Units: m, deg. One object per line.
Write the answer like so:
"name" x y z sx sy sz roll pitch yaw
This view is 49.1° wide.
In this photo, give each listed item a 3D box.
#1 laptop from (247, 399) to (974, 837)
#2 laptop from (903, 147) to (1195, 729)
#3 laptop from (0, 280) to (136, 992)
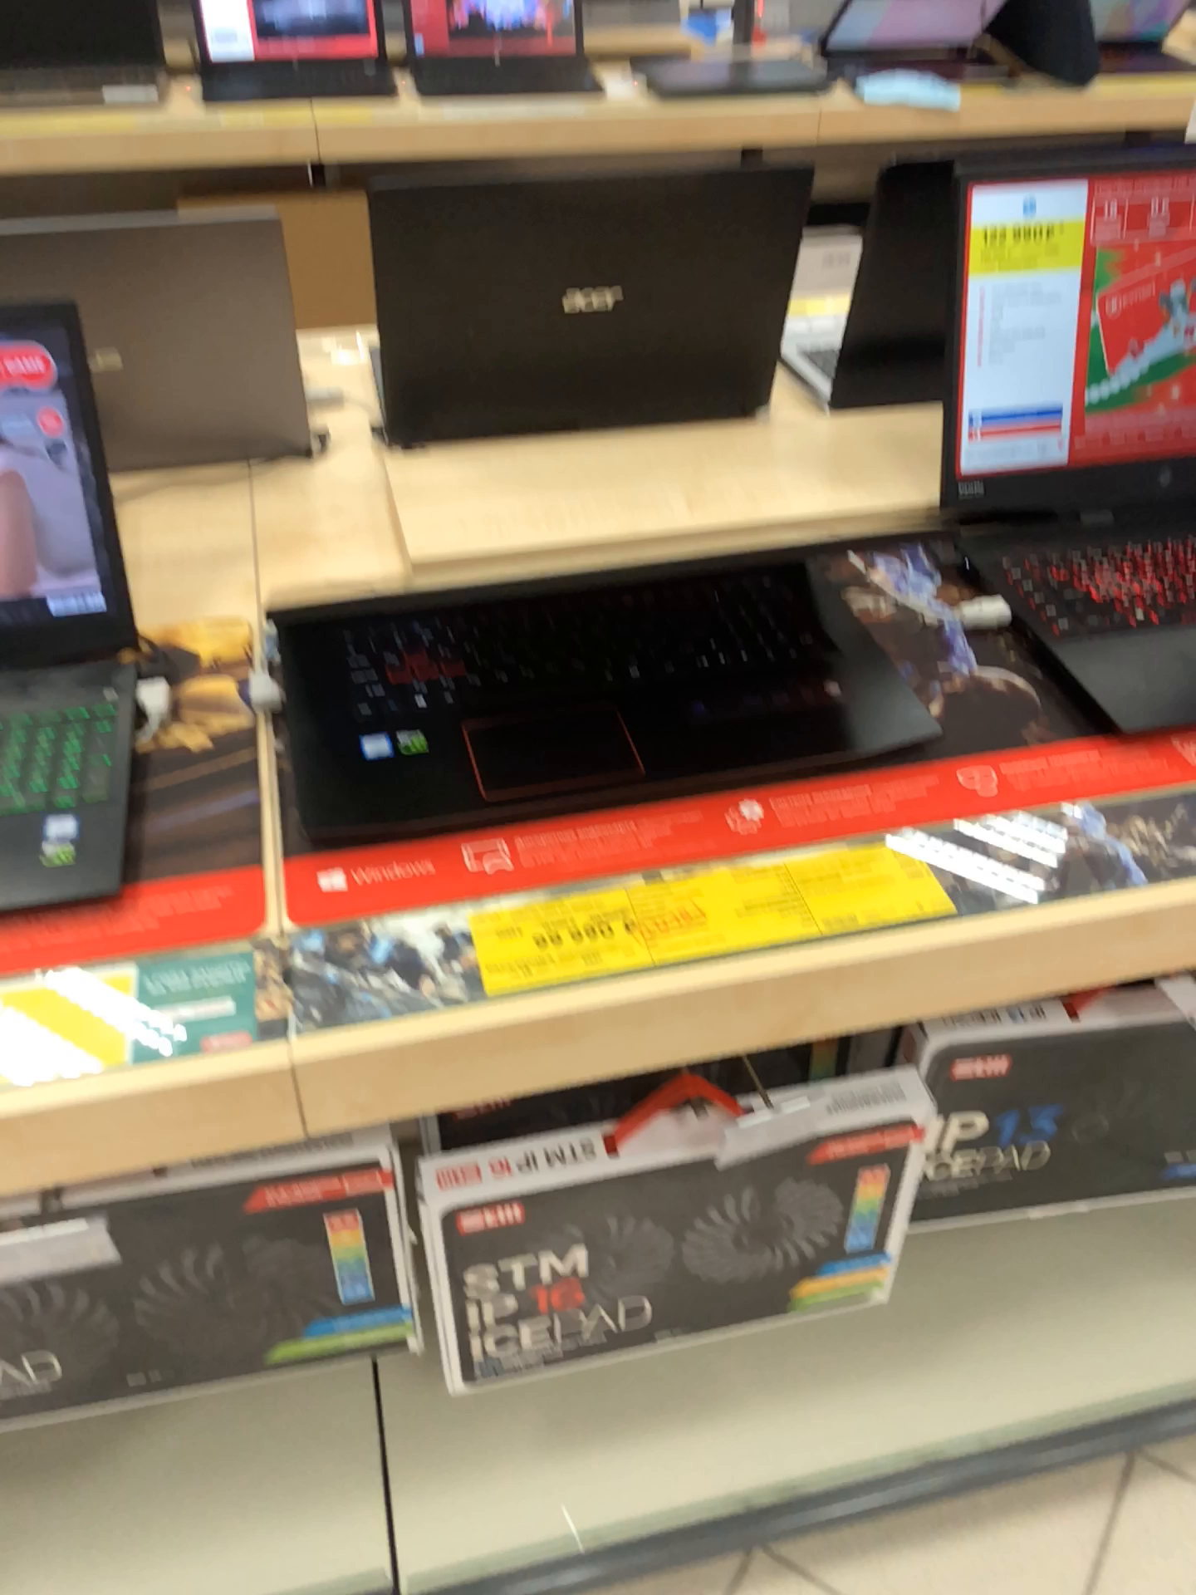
"laptop" -0.008 -0.139 0.889 0.419 0.124 0.262 -9 40 -11
"laptop" 0.500 -0.282 0.962 0.377 0.251 0.357 -8 41 -10
"laptop" -0.492 -0.122 0.768 0.350 0.230 0.343 -7 39 -11
